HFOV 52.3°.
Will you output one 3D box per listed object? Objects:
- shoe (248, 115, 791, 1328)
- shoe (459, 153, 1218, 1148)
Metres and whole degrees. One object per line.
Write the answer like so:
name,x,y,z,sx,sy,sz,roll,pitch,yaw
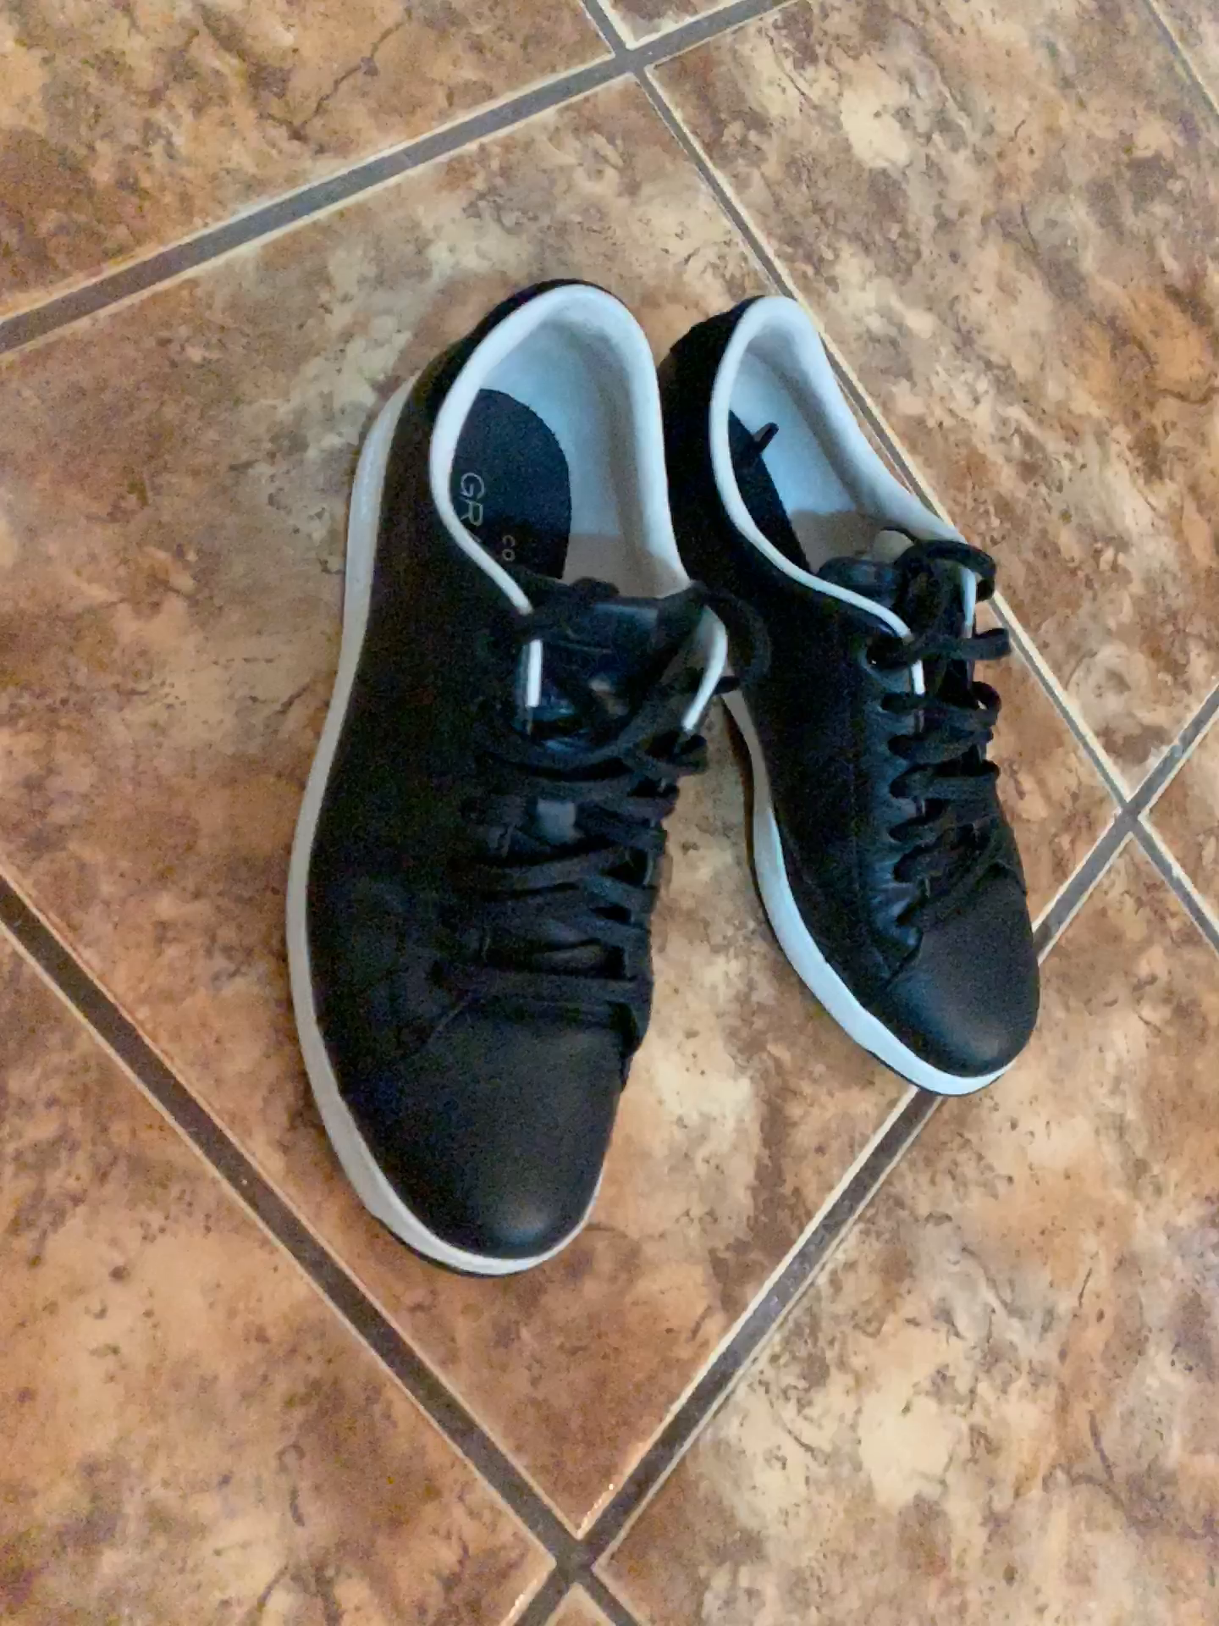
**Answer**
shoe,-0.021,-0.018,0.305,0.087,0.093,0.255,10,72,-27
shoe,0.070,-0.039,0.364,0.090,0.103,0.255,-28,92,-32
